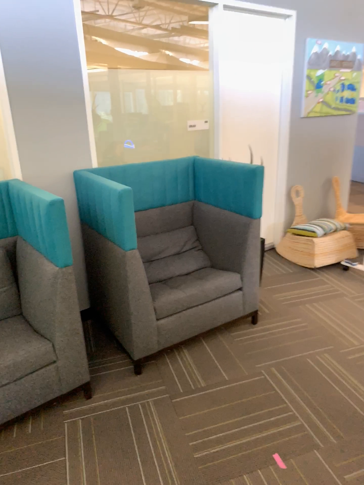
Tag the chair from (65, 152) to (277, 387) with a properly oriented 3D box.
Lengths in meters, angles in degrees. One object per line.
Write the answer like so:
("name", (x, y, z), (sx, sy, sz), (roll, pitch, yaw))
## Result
("chair", (-0.093, 0.048, 2.701), (1.050, 1.214, 1.015), (-14, 23, -30))
